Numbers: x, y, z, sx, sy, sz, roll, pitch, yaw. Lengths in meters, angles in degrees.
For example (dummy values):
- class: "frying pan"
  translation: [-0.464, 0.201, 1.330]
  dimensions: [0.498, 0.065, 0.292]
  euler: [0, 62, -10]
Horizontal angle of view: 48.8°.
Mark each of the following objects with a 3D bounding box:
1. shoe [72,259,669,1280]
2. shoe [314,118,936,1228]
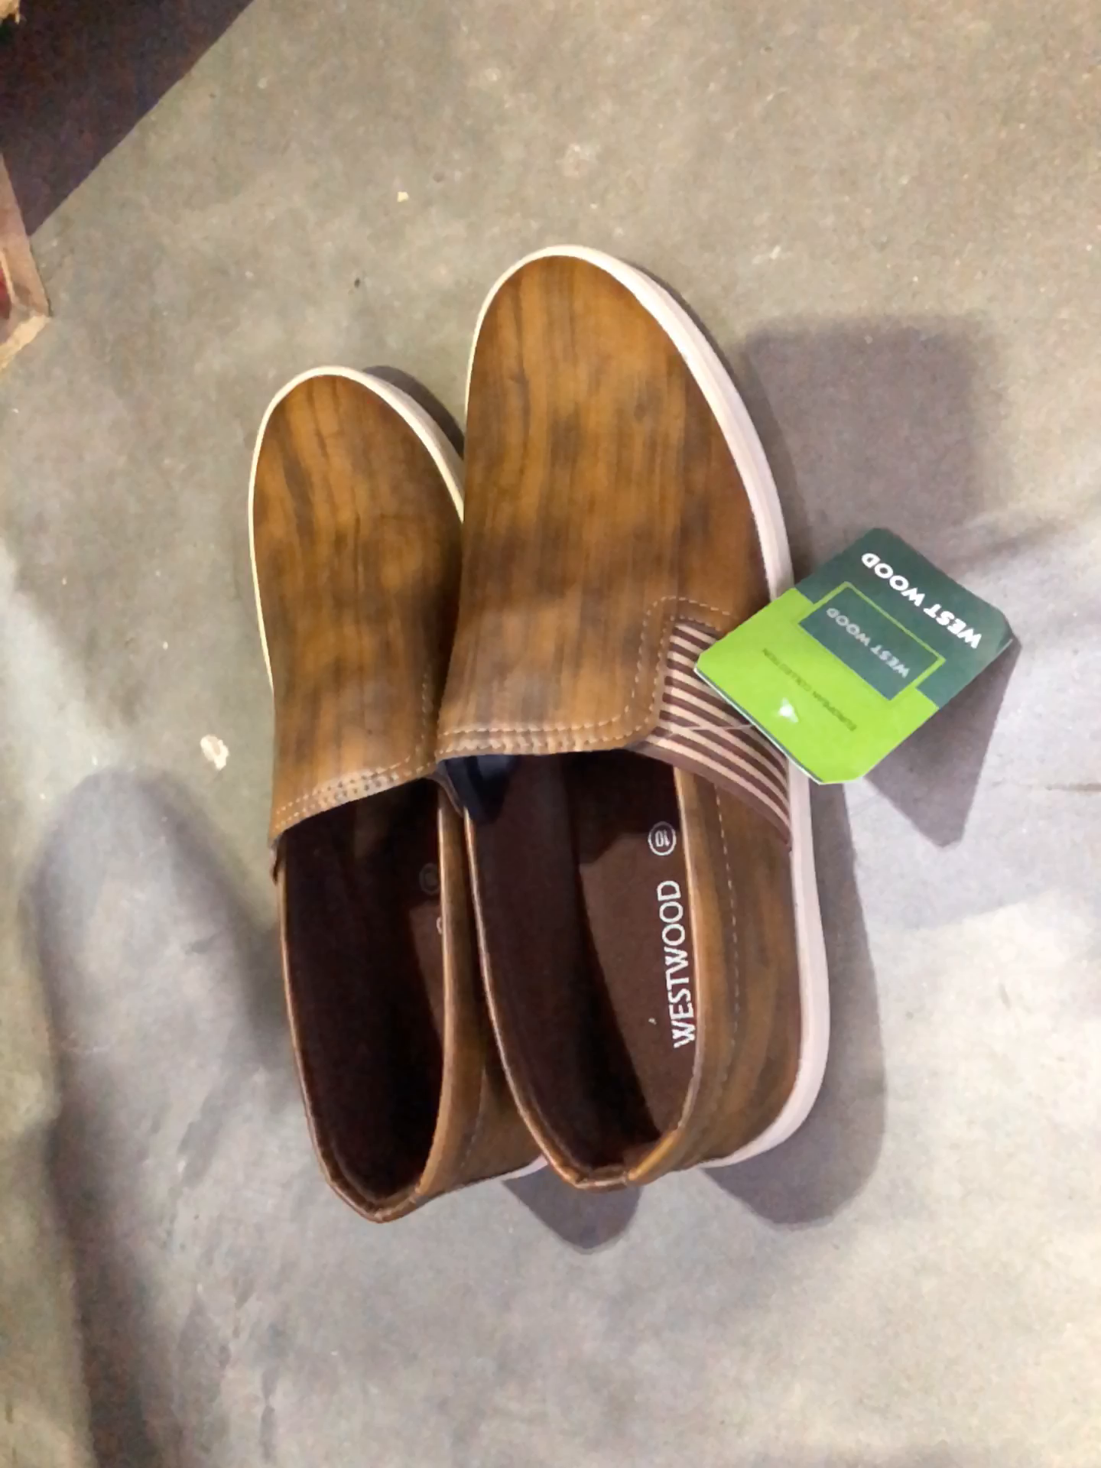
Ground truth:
- class: "shoe"
  translation: [-0.064, 0.010, 0.407]
  dimensions: [0.100, 0.100, 0.290]
  euler: [-21, 76, 29]
- class: "shoe"
  translation: [0.021, -0.013, 0.378]
  dimensions: [0.110, 0.100, 0.290]
  euler: [-15, 79, 30]
